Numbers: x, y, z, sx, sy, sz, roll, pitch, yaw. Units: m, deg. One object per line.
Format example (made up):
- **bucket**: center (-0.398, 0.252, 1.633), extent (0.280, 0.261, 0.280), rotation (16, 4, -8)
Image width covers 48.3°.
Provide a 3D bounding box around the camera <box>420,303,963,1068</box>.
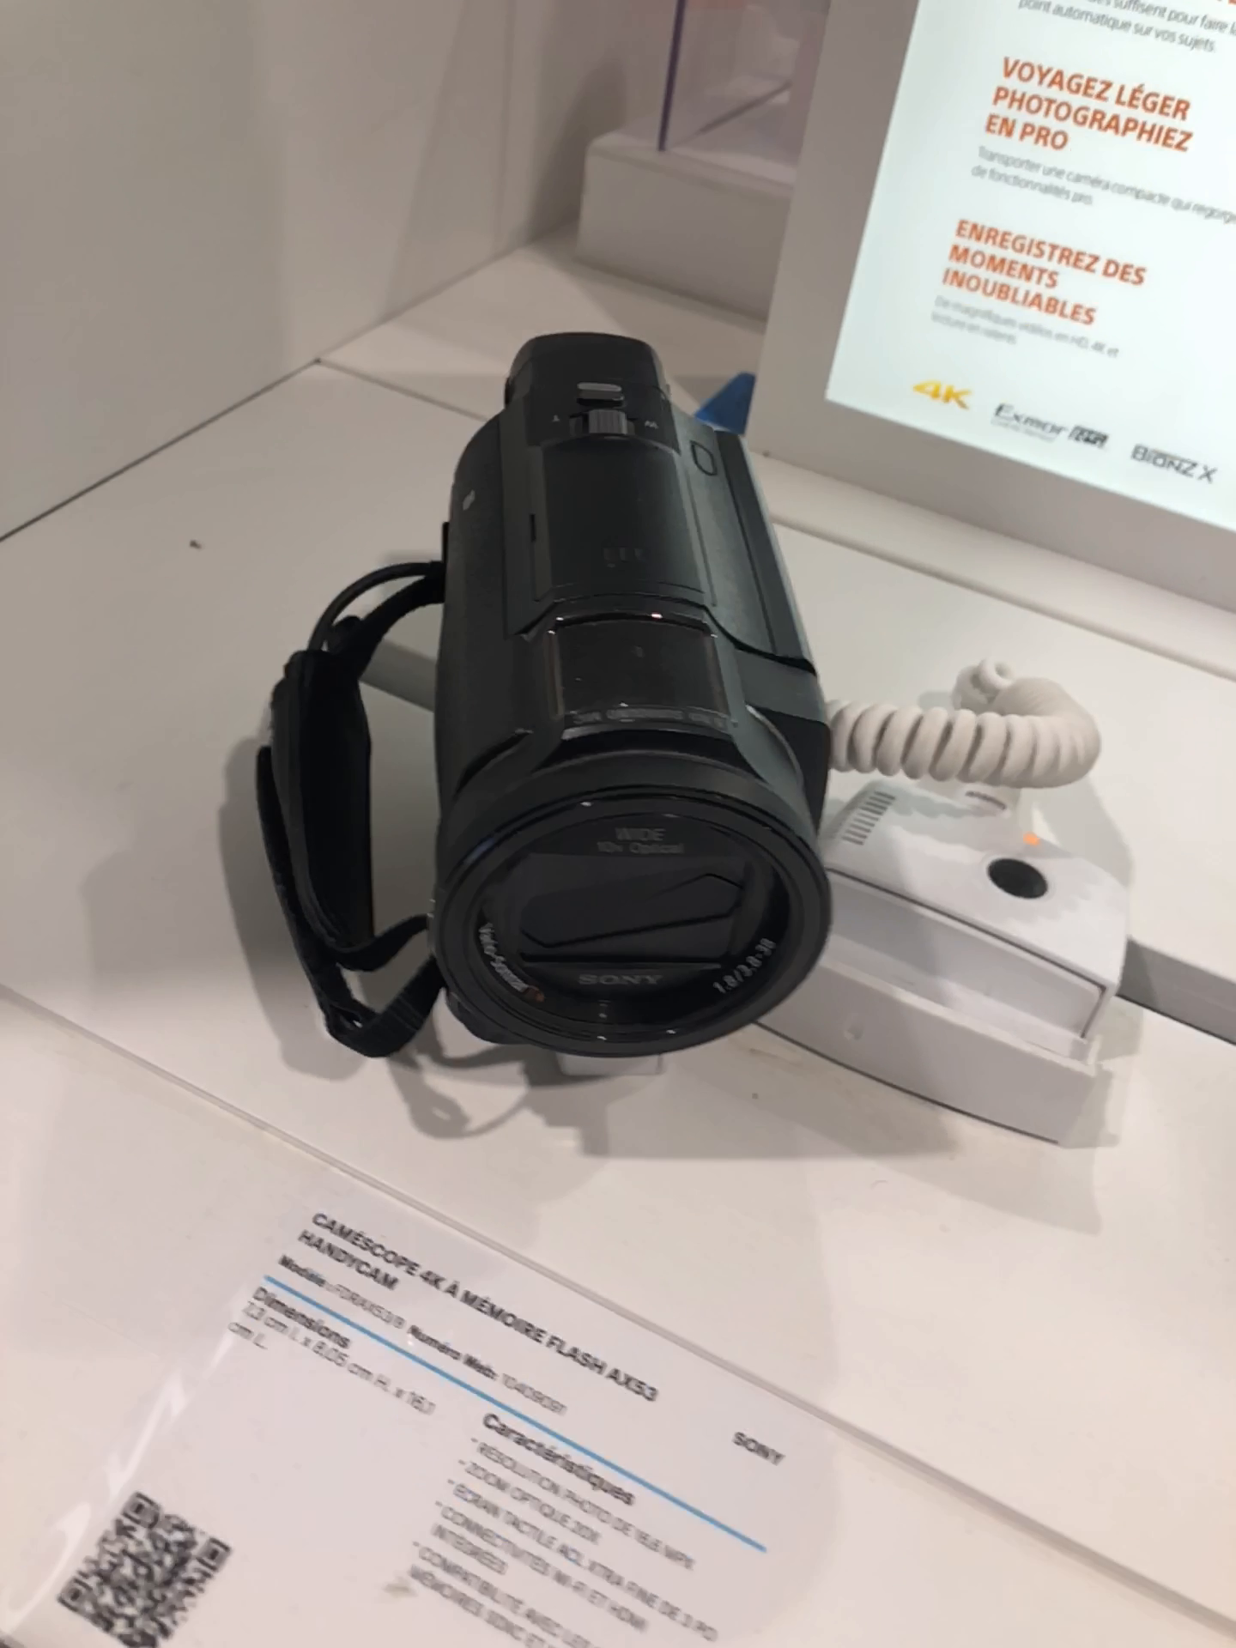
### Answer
- **camera**: center (0.000, -0.035, 0.266), extent (0.073, 0.070, 0.149), rotation (1, 41, -9)
